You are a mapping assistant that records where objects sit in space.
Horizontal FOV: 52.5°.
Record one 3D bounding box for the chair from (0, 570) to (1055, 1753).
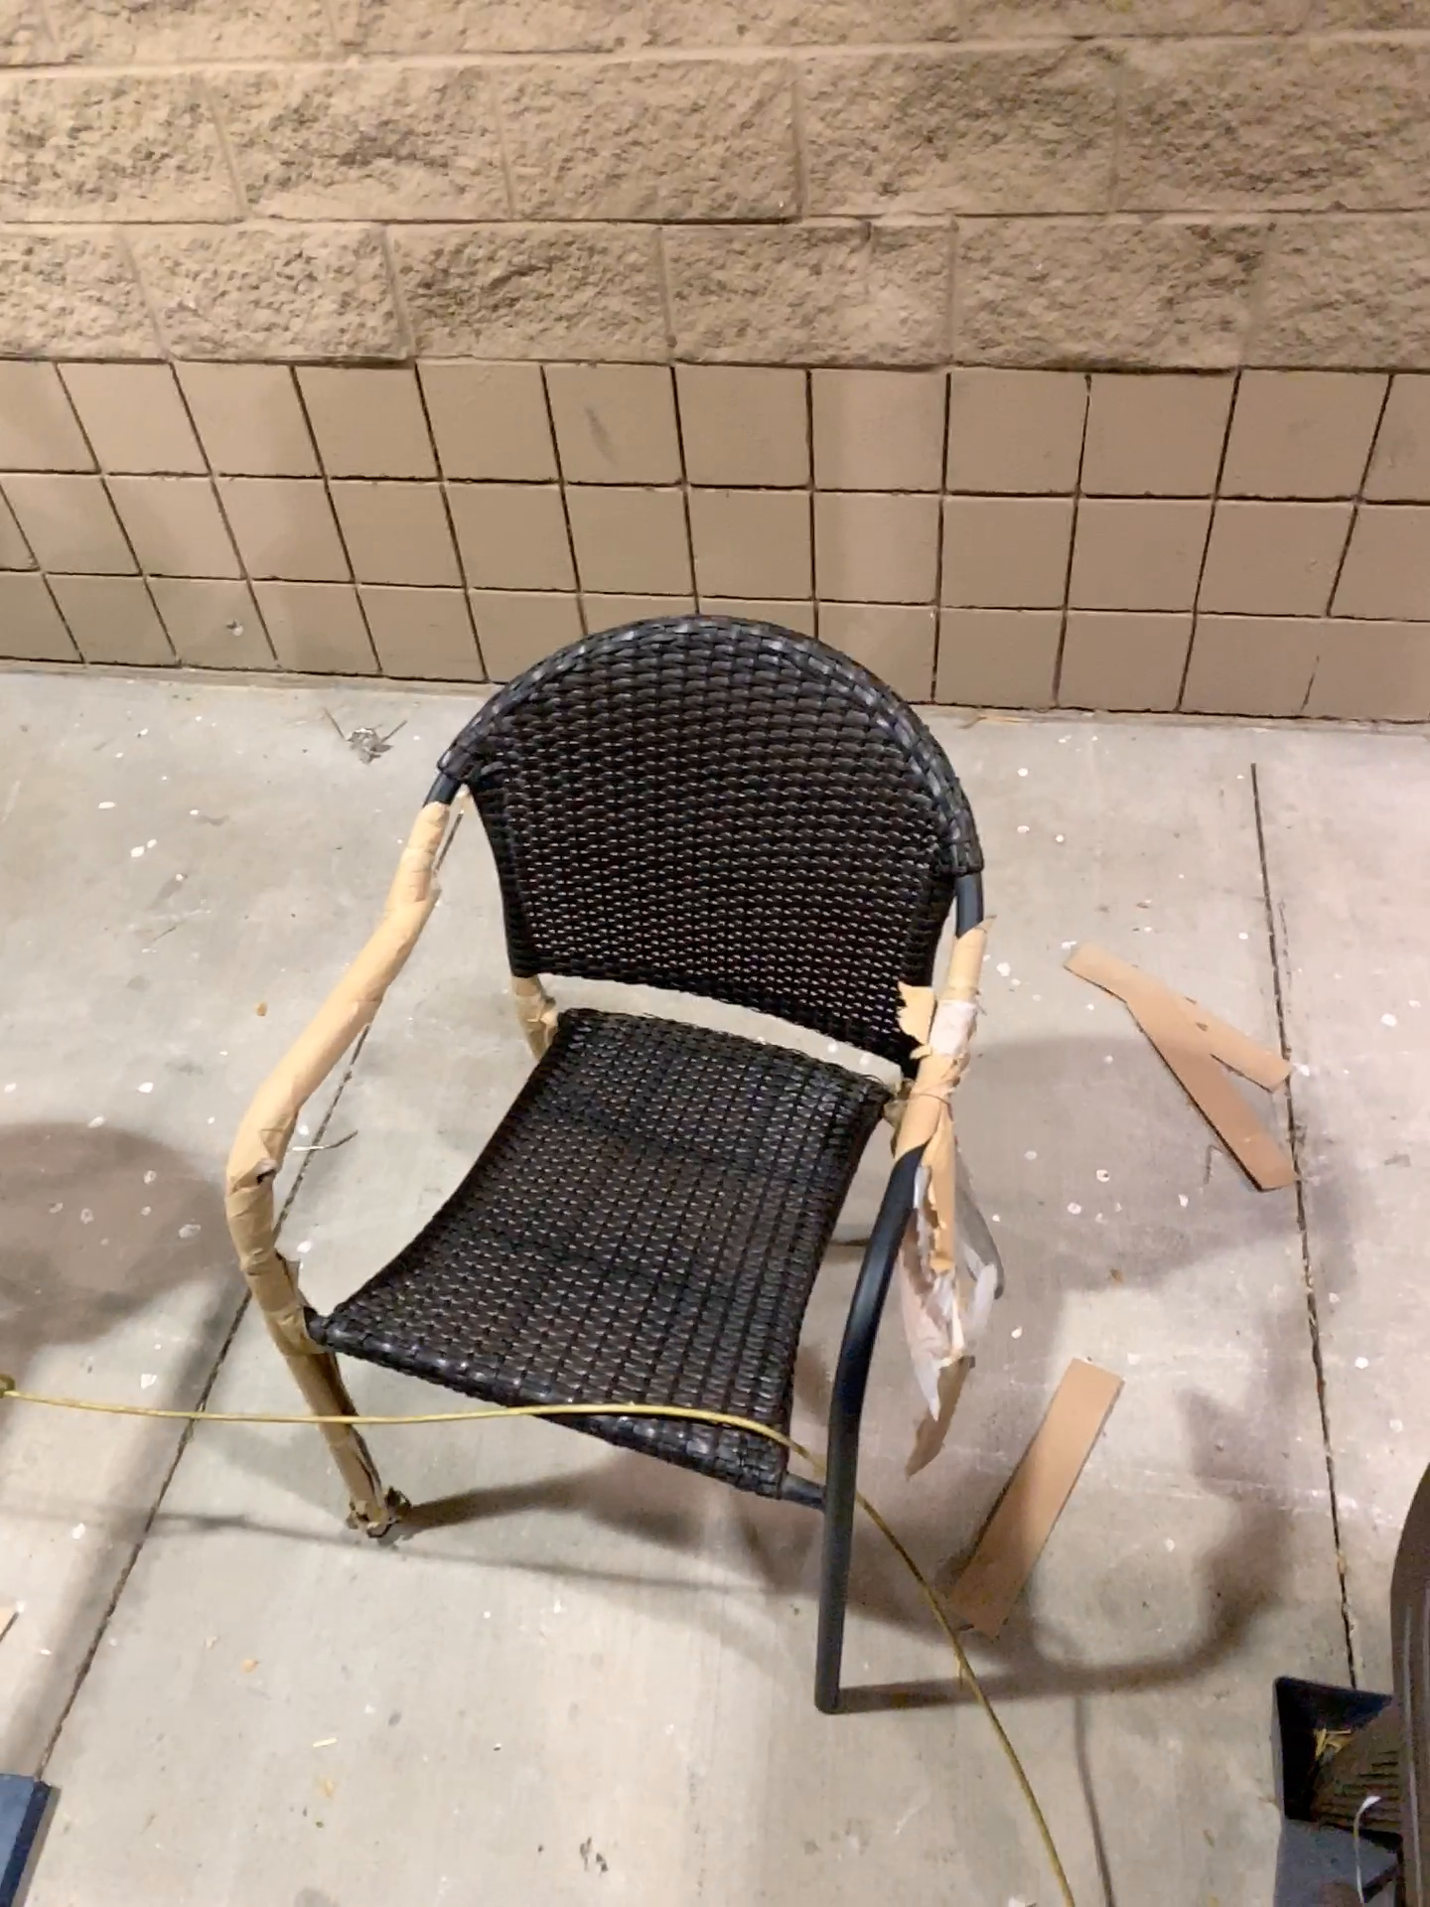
[{"bbox_3d":[-0.069,0.208,1.349,0.576,0.840,0.599,12,49,16],"label":"chair"}]
